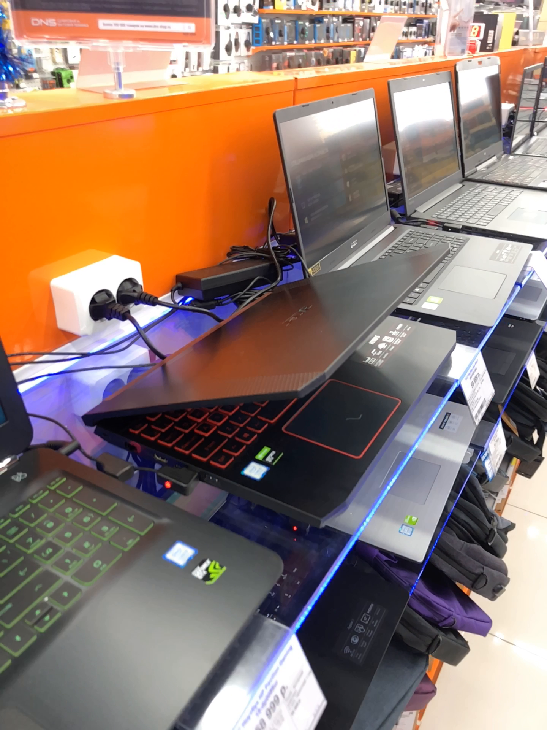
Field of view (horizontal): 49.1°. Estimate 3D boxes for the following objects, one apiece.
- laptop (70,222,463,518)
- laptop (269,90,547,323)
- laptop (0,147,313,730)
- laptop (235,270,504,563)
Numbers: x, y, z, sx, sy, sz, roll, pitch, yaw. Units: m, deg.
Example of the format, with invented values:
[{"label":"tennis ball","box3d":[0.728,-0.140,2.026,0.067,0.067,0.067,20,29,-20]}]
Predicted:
[{"label":"laptop","box3d":[0.020,-0.036,0.620,0.248,0.103,0.359,16,32,25]},{"label":"laptop","box3d":[0.219,-0.264,0.896,0.312,0.226,0.344,16,33,24]},{"label":"laptop","box3d":[-0.232,0.076,0.269,0.310,0.250,0.416,16,33,26]},{"label":"laptop","box3d":[0.167,0.043,0.979,0.296,0.220,0.406,15,33,25]}]
